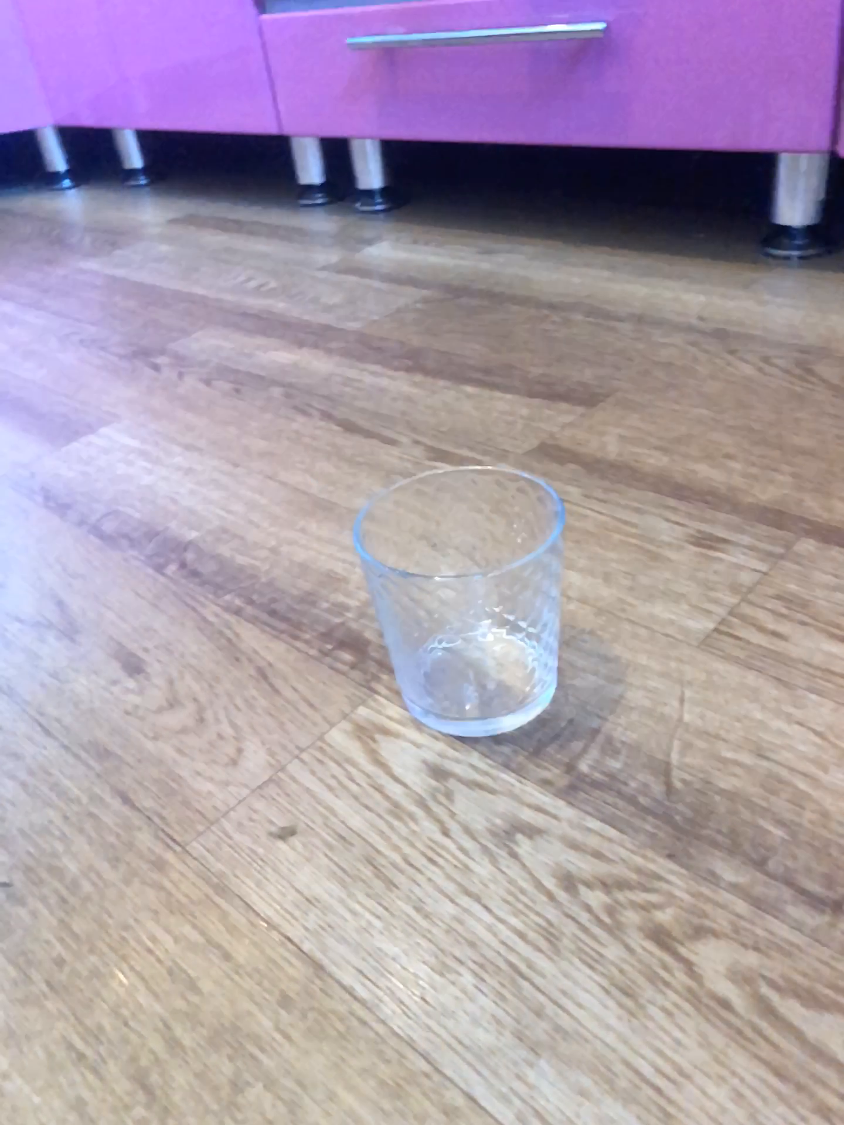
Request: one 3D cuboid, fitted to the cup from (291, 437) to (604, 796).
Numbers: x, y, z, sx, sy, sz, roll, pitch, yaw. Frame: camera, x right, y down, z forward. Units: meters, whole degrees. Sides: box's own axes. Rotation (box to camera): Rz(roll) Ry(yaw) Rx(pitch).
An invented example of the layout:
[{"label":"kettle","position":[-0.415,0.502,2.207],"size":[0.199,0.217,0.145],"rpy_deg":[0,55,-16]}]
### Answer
[{"label":"cup","position":[0.014,0.017,0.364],"size":[0.080,0.090,0.080],"rpy_deg":[-6,34,4]}]
